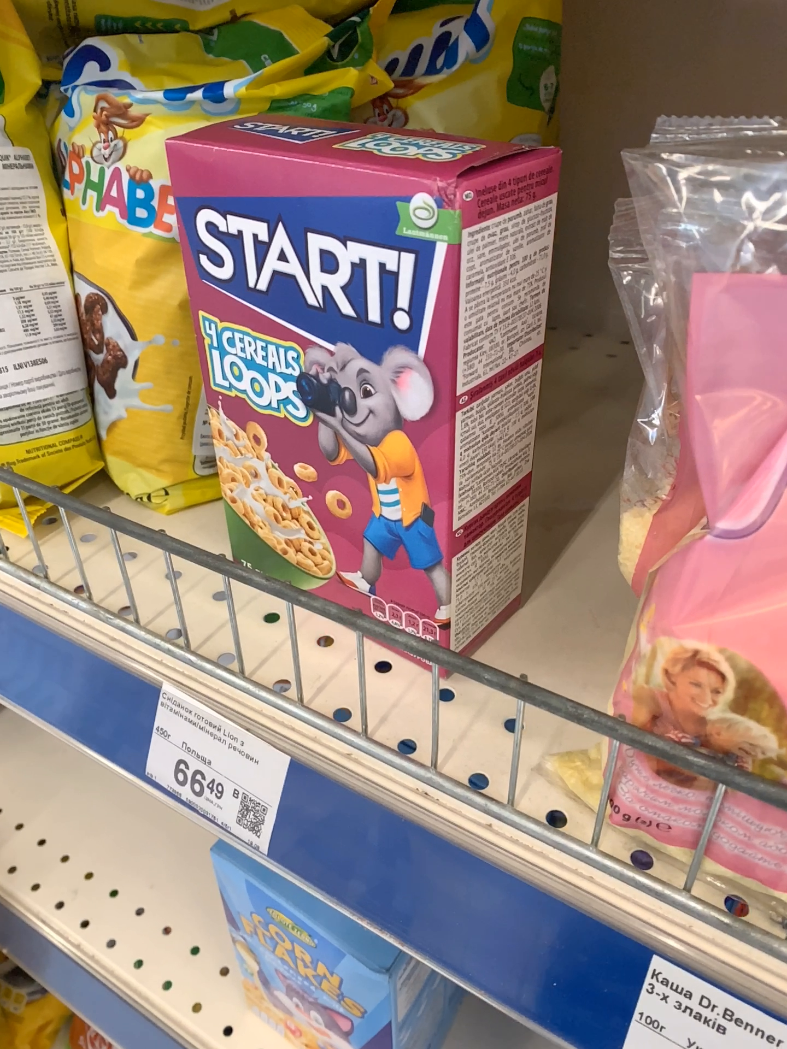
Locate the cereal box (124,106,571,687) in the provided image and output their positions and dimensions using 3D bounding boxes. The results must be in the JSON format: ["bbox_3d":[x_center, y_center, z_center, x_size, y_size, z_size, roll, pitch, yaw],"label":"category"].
[{"bbox_3d":[-0.014,-0.043,0.272,0.120,0.158,0.050,23,42,31],"label":"cereal box"}]
